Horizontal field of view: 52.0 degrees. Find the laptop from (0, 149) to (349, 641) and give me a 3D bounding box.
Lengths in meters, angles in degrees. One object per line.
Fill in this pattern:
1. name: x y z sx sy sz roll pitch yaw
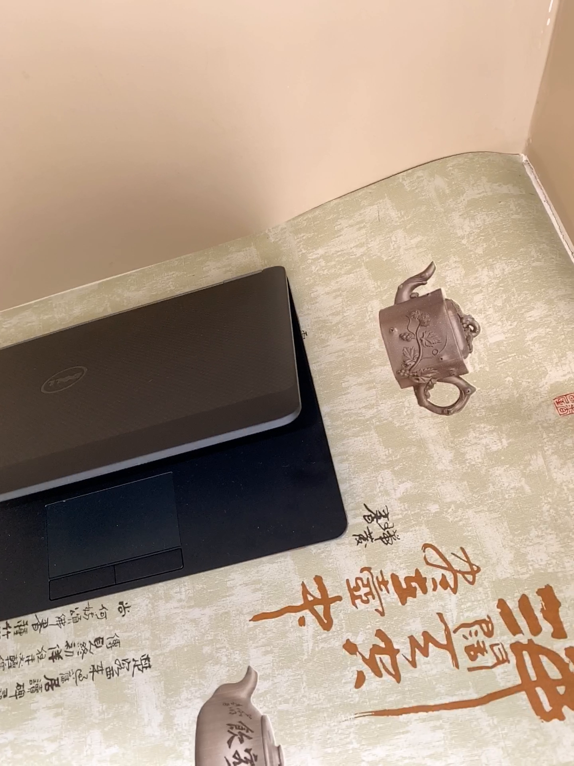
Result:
1. laptop: -0.142 0.020 0.385 0.308 0.136 0.212 -16 65 7
